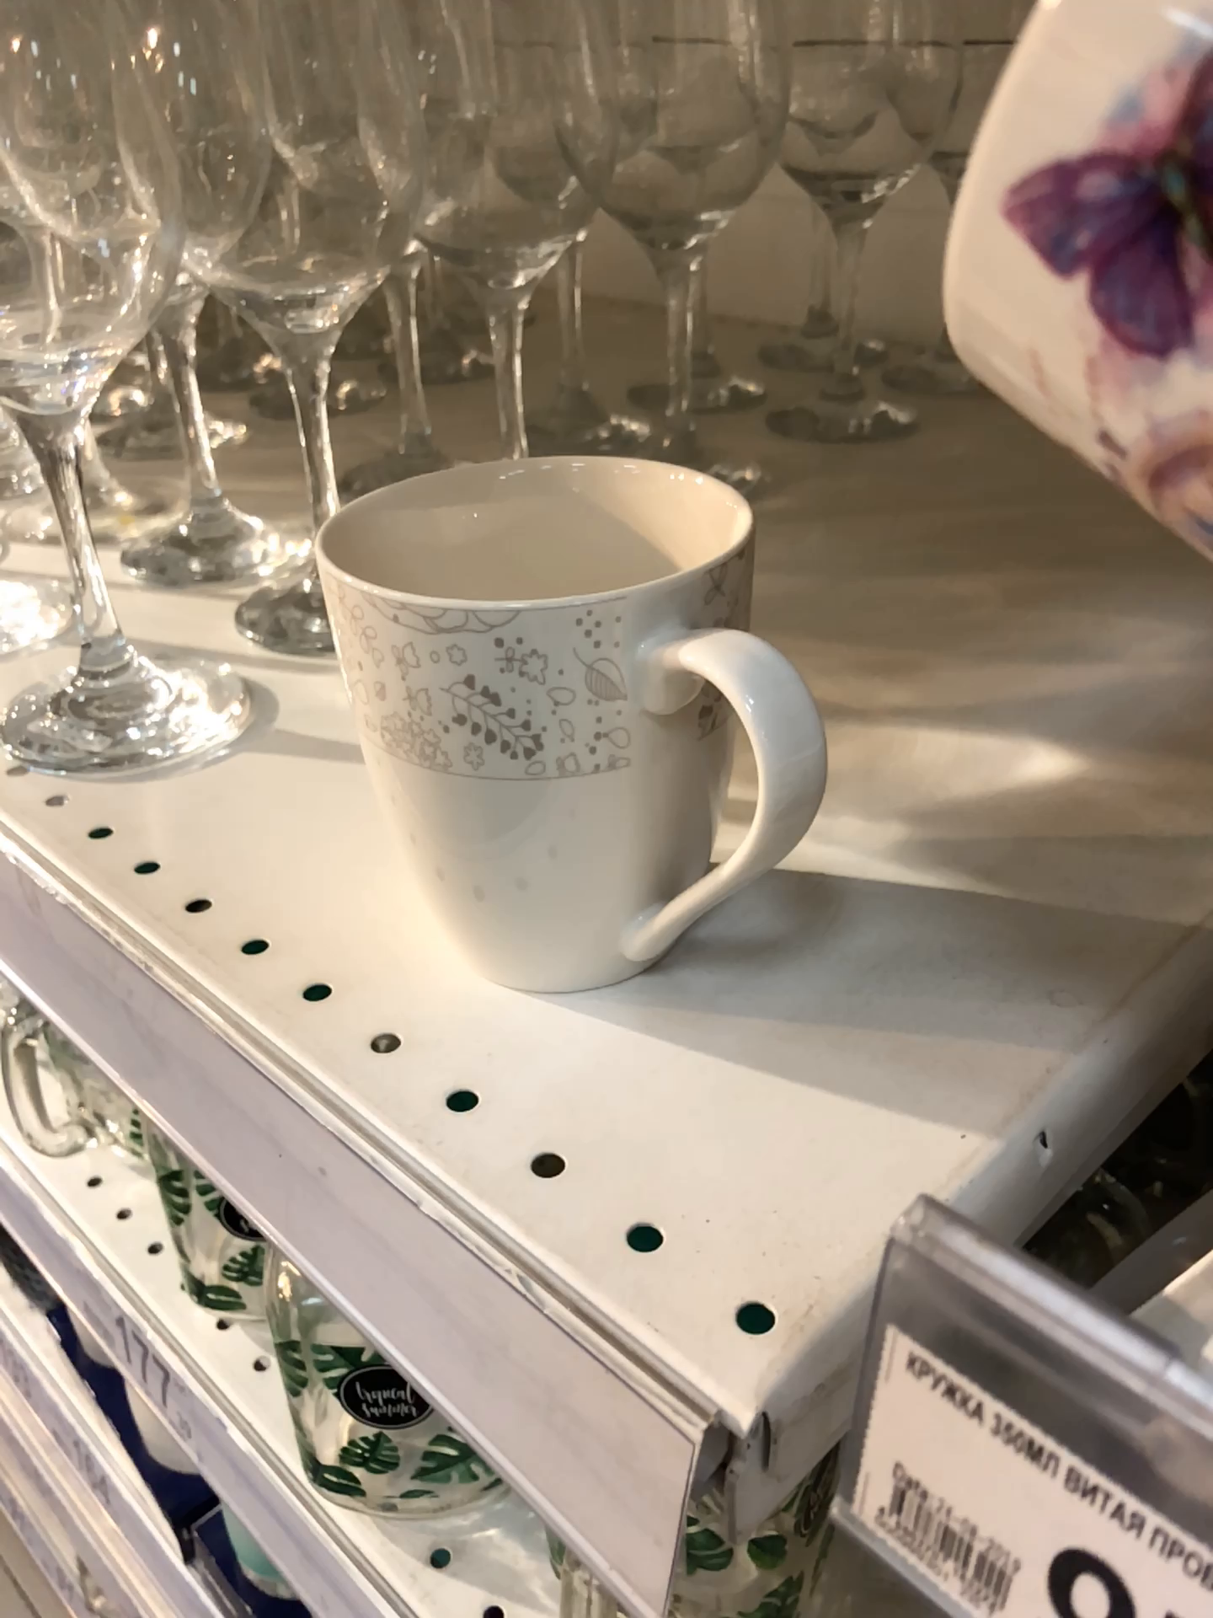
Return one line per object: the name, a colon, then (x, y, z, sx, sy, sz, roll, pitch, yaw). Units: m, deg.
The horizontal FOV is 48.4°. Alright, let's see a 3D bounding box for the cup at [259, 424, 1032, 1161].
cup: (0.005, -0.015, 0.286, 0.090, 0.091, 0.126, -27, 38, -33)
